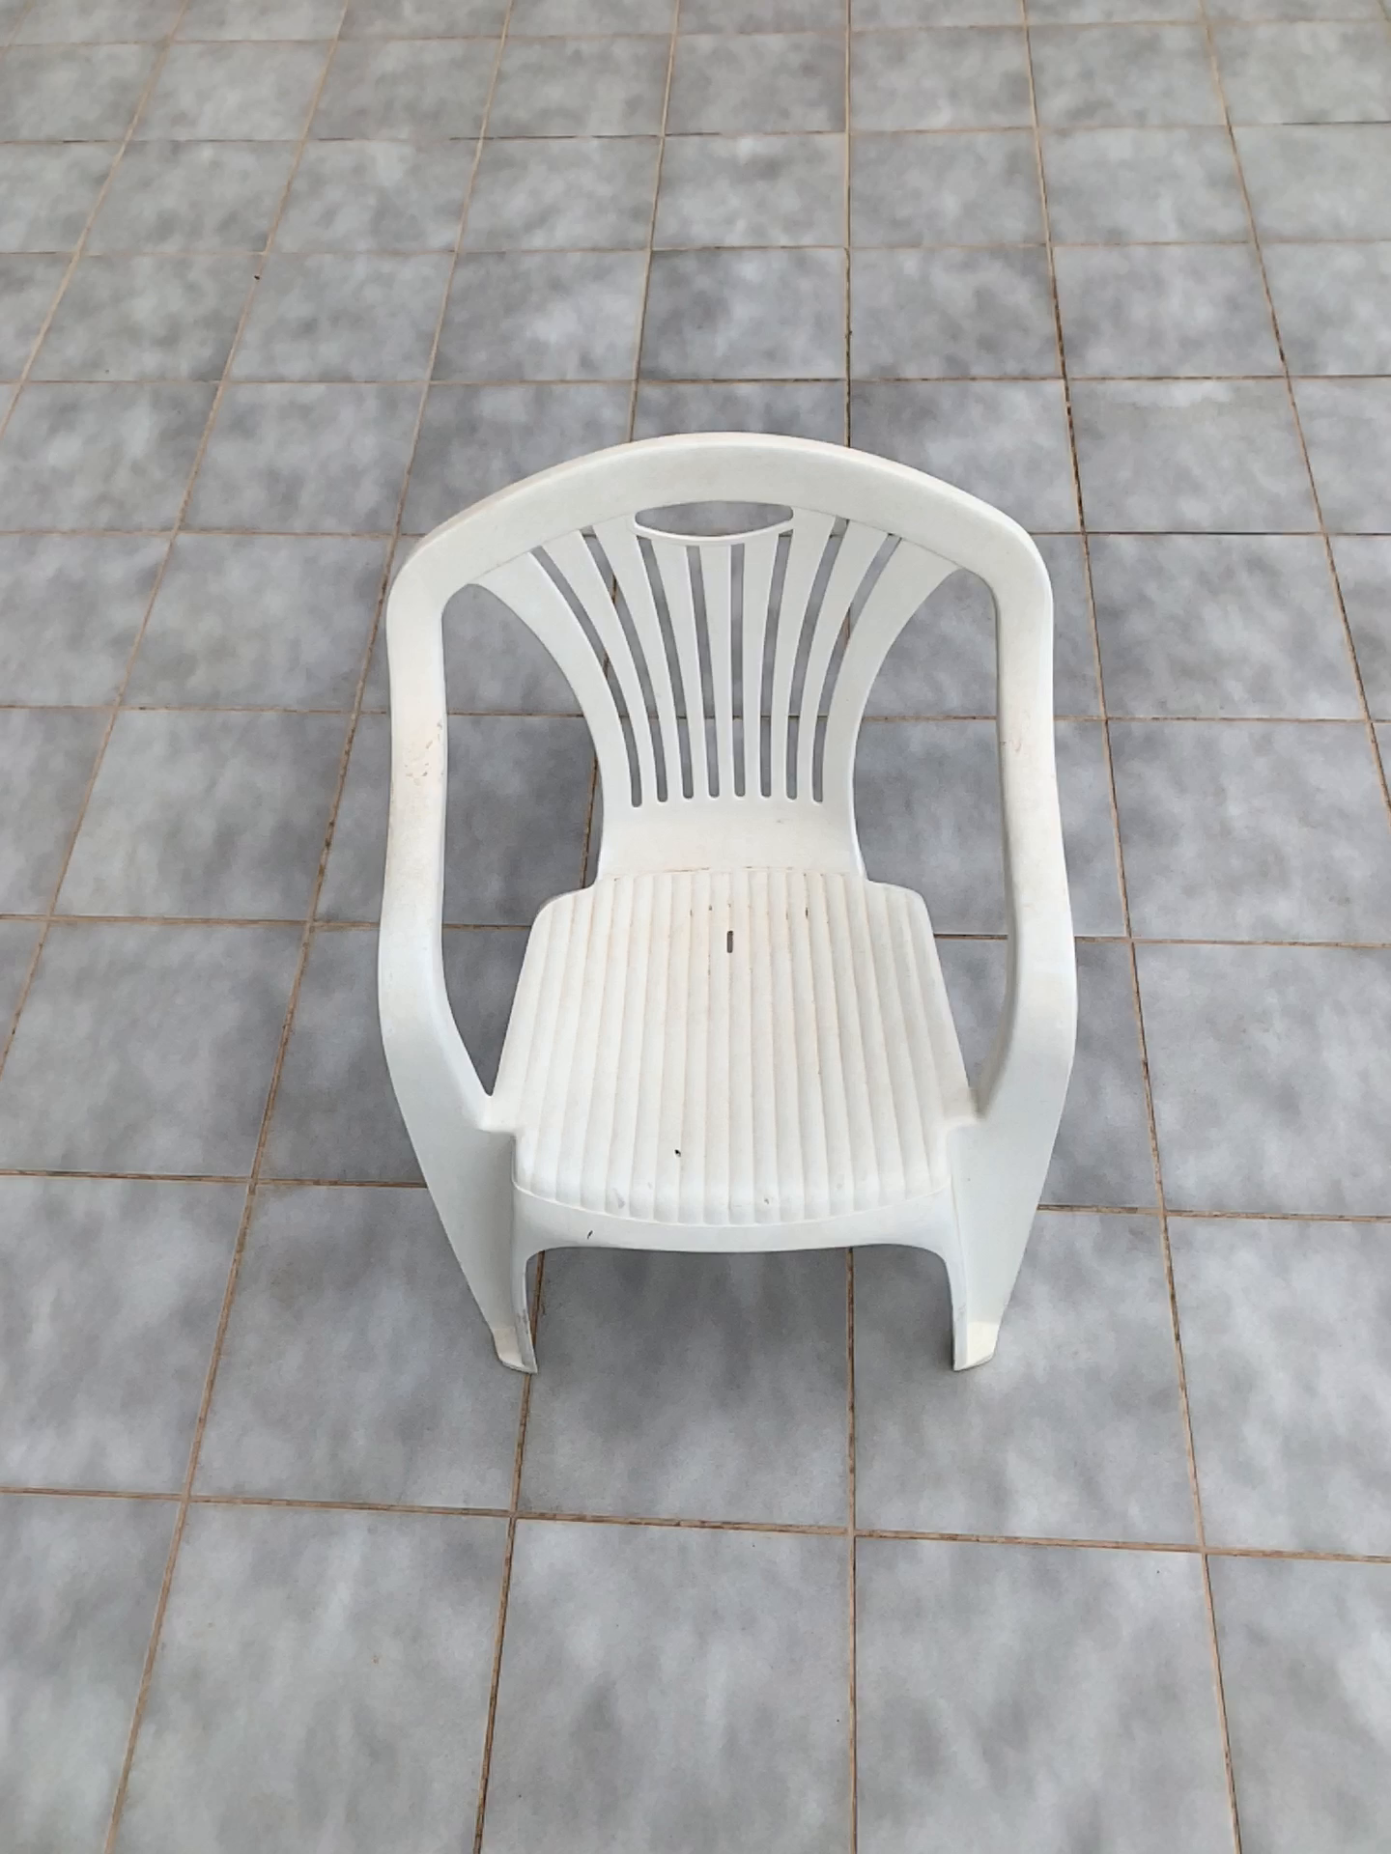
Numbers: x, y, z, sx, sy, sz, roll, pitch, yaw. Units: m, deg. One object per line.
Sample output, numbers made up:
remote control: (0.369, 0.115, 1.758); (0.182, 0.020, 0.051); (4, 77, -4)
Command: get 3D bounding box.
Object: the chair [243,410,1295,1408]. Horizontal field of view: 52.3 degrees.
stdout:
chair: (0.044, 0.037, 1.200); (0.570, 0.668, 0.562); (-2, 59, 1)
